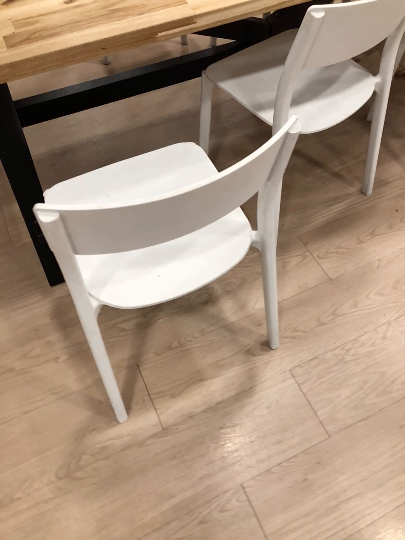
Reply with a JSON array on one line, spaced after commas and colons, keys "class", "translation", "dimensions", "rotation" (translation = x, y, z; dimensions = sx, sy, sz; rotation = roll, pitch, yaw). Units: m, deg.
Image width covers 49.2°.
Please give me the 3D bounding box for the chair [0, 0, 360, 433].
[{"class": "chair", "translation": [-0.126, -0.101, 1.015], "dimensions": [0.530, 0.716, 0.563], "rotation": [-23, 58, -13]}]
